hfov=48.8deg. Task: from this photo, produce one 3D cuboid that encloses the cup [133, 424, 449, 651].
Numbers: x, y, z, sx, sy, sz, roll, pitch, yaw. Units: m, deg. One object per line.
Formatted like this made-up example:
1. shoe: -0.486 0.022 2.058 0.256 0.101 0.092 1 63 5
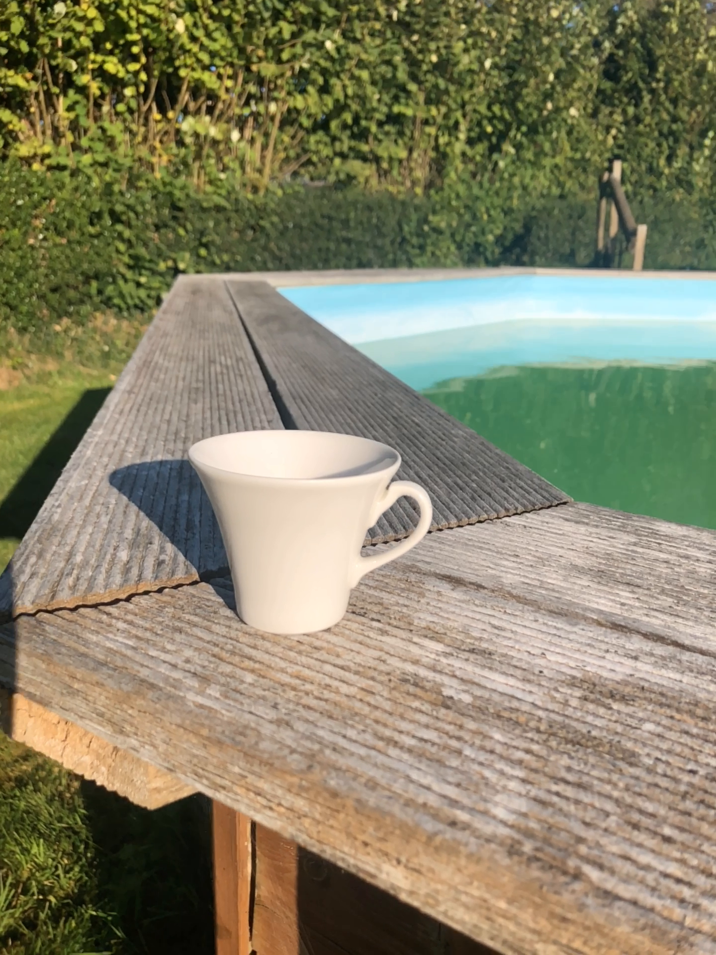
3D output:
1. cup: -0.019 0.017 0.284 0.097 0.053 0.077 3 16 3
